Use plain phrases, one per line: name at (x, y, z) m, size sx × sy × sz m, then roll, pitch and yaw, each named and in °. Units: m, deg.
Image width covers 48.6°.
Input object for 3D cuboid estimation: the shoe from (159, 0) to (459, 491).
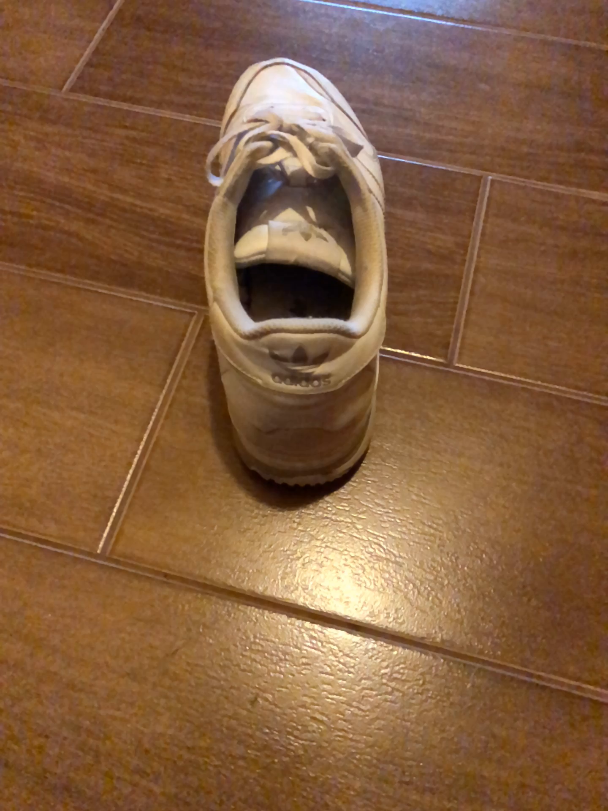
shoe at (0.001, -0.107, 0.358) m, size 0.104 × 0.139 × 0.271 m, roll 0°, pitch 62°, yaw -1°
